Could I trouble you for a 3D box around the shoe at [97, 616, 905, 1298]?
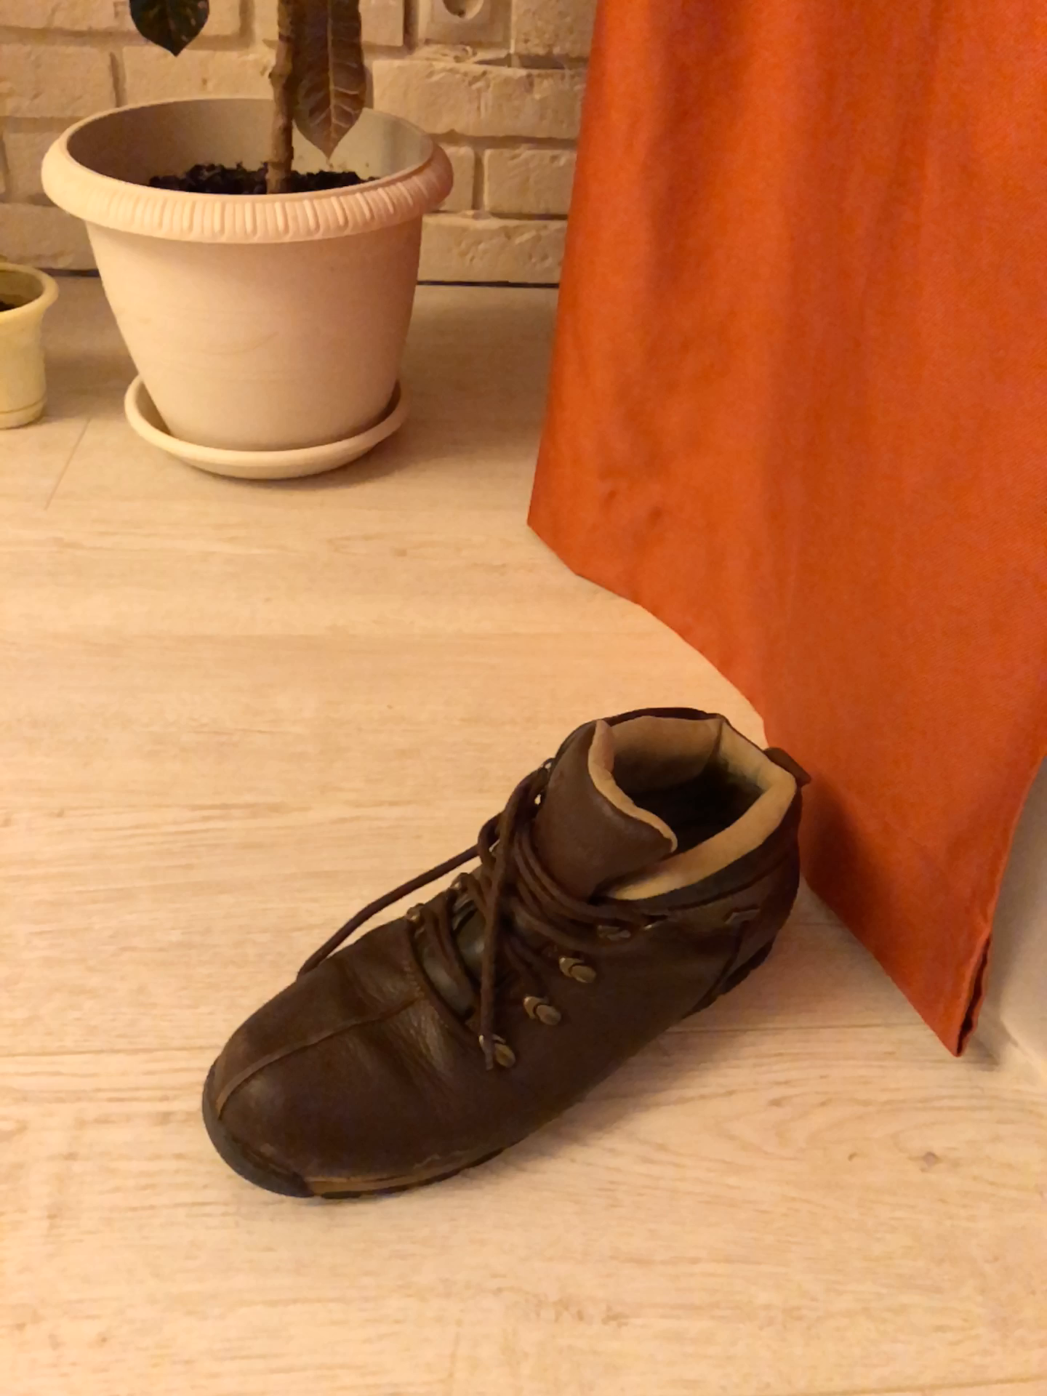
[{"bbox_3d":[-0.003,0.098,0.499,0.301,0.159,0.110,-19,45,-25],"label":"shoe"}]
